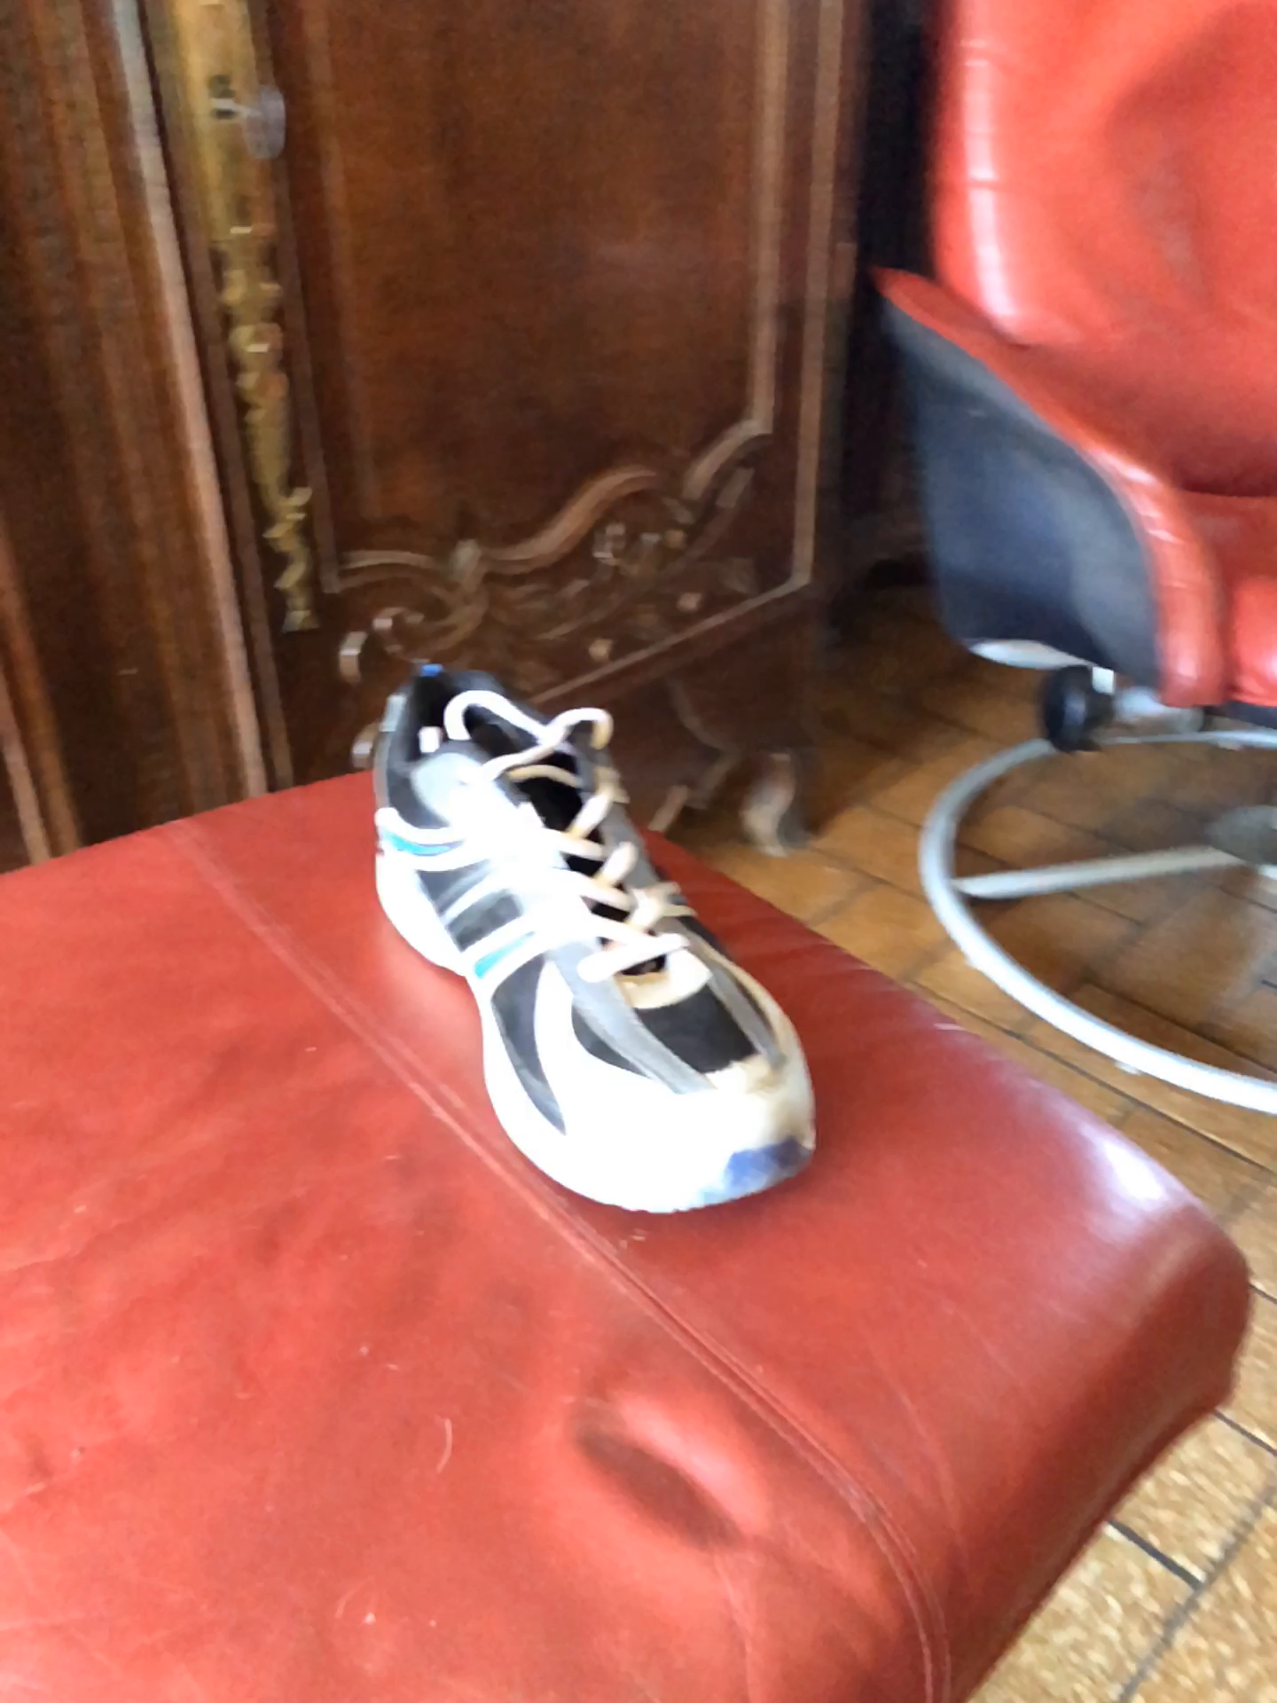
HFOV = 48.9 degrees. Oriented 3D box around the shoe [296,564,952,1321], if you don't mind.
[{"bbox_3d":[-0.023,0.008,0.490,0.110,0.119,0.261,-15,35,-23],"label":"shoe"}]
